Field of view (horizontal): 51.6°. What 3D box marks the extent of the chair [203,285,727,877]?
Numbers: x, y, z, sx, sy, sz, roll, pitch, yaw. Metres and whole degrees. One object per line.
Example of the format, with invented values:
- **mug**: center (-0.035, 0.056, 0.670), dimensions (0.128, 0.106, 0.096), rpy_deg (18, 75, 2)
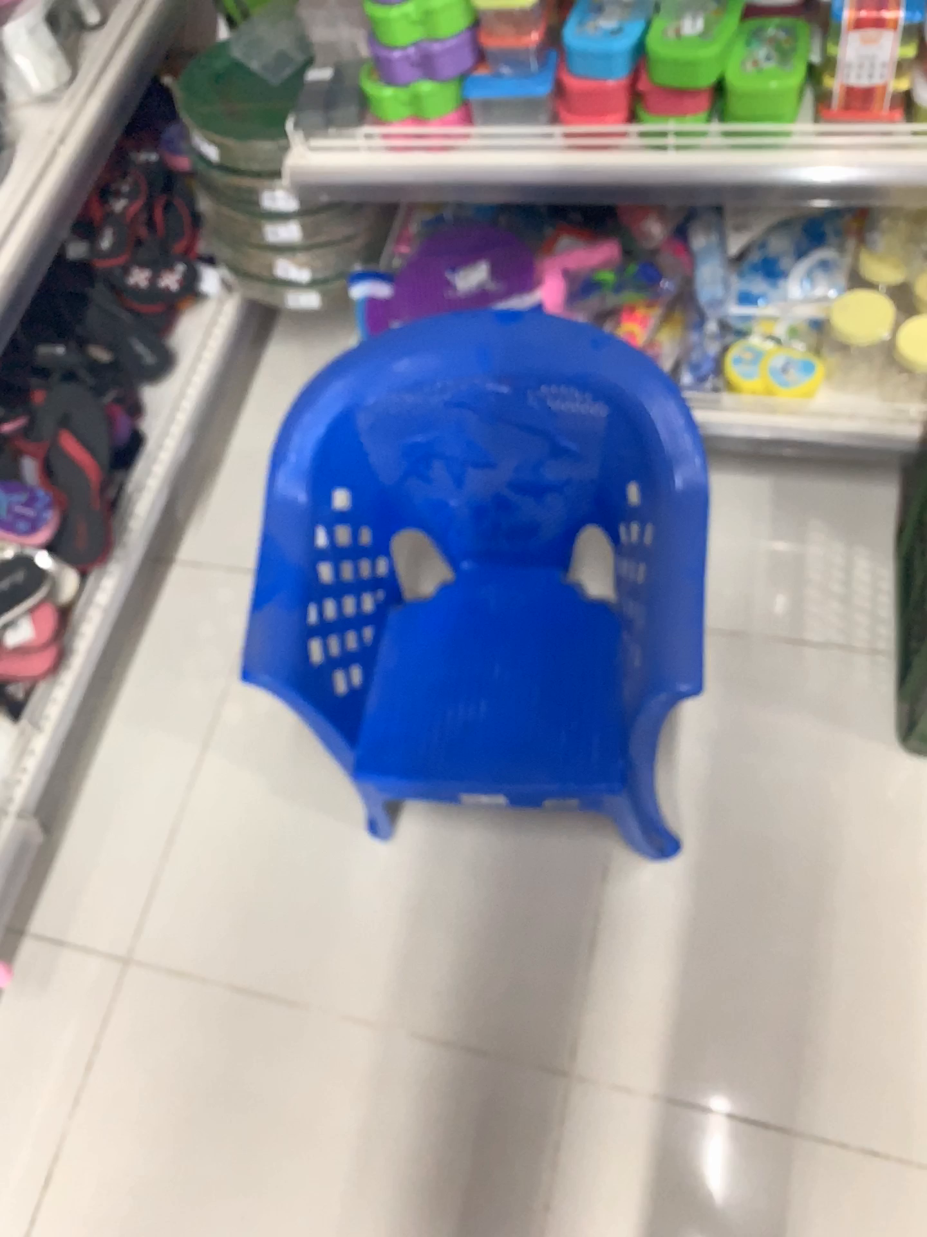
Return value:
- **chair**: center (0.056, -0.009, 1.055), dimensions (0.420, 0.469, 0.451), rpy_deg (0, 63, 13)
